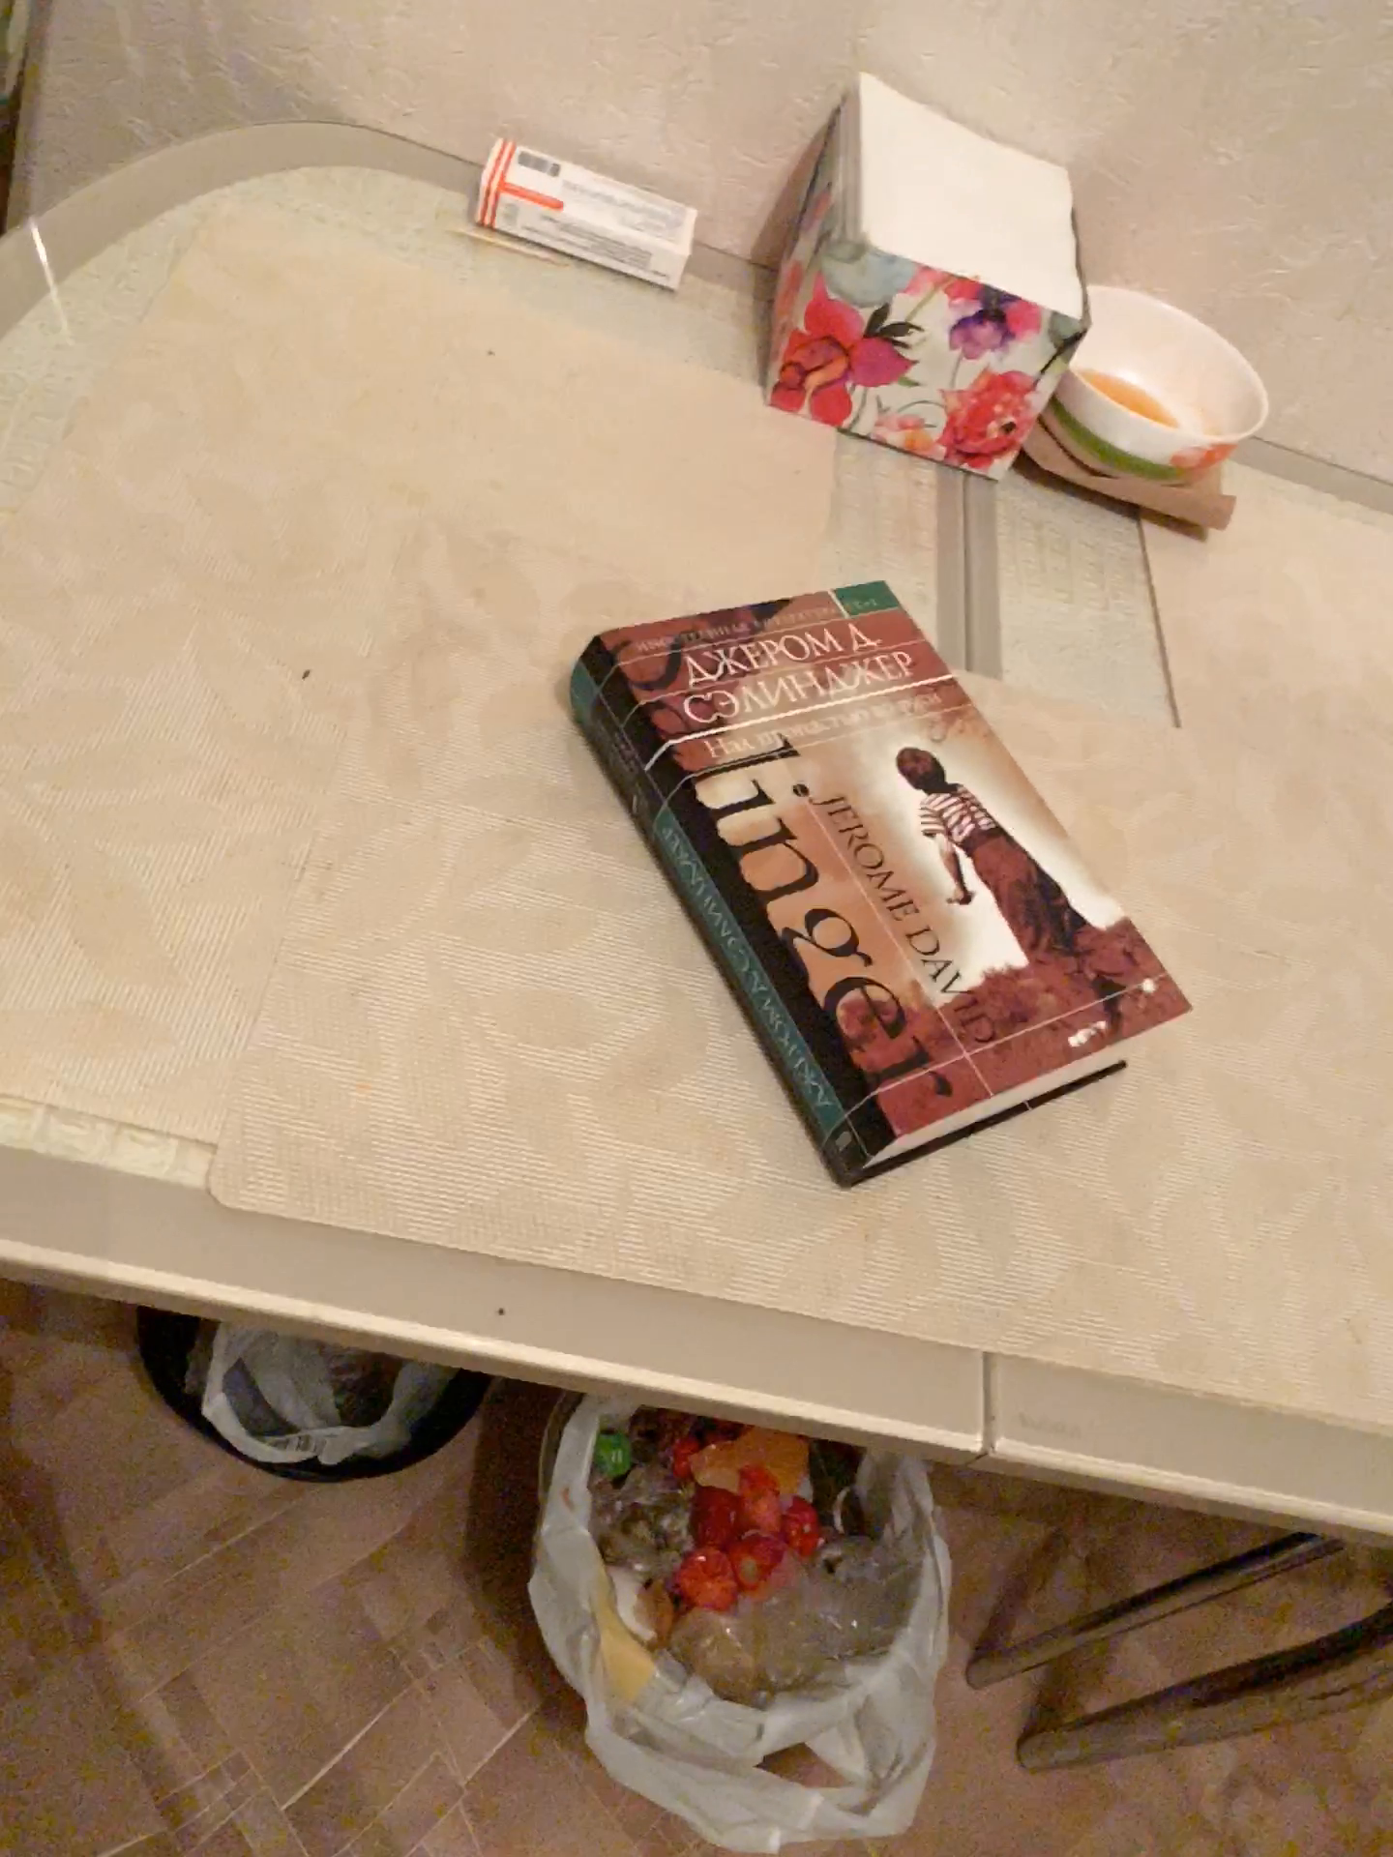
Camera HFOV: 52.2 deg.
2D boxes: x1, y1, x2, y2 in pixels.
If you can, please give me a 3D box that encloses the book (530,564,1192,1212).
[{"bbox_3d":[0.056,-0.028,0.527,0.150,0.049,0.221,-16,65,-29],"label":"book"}]
